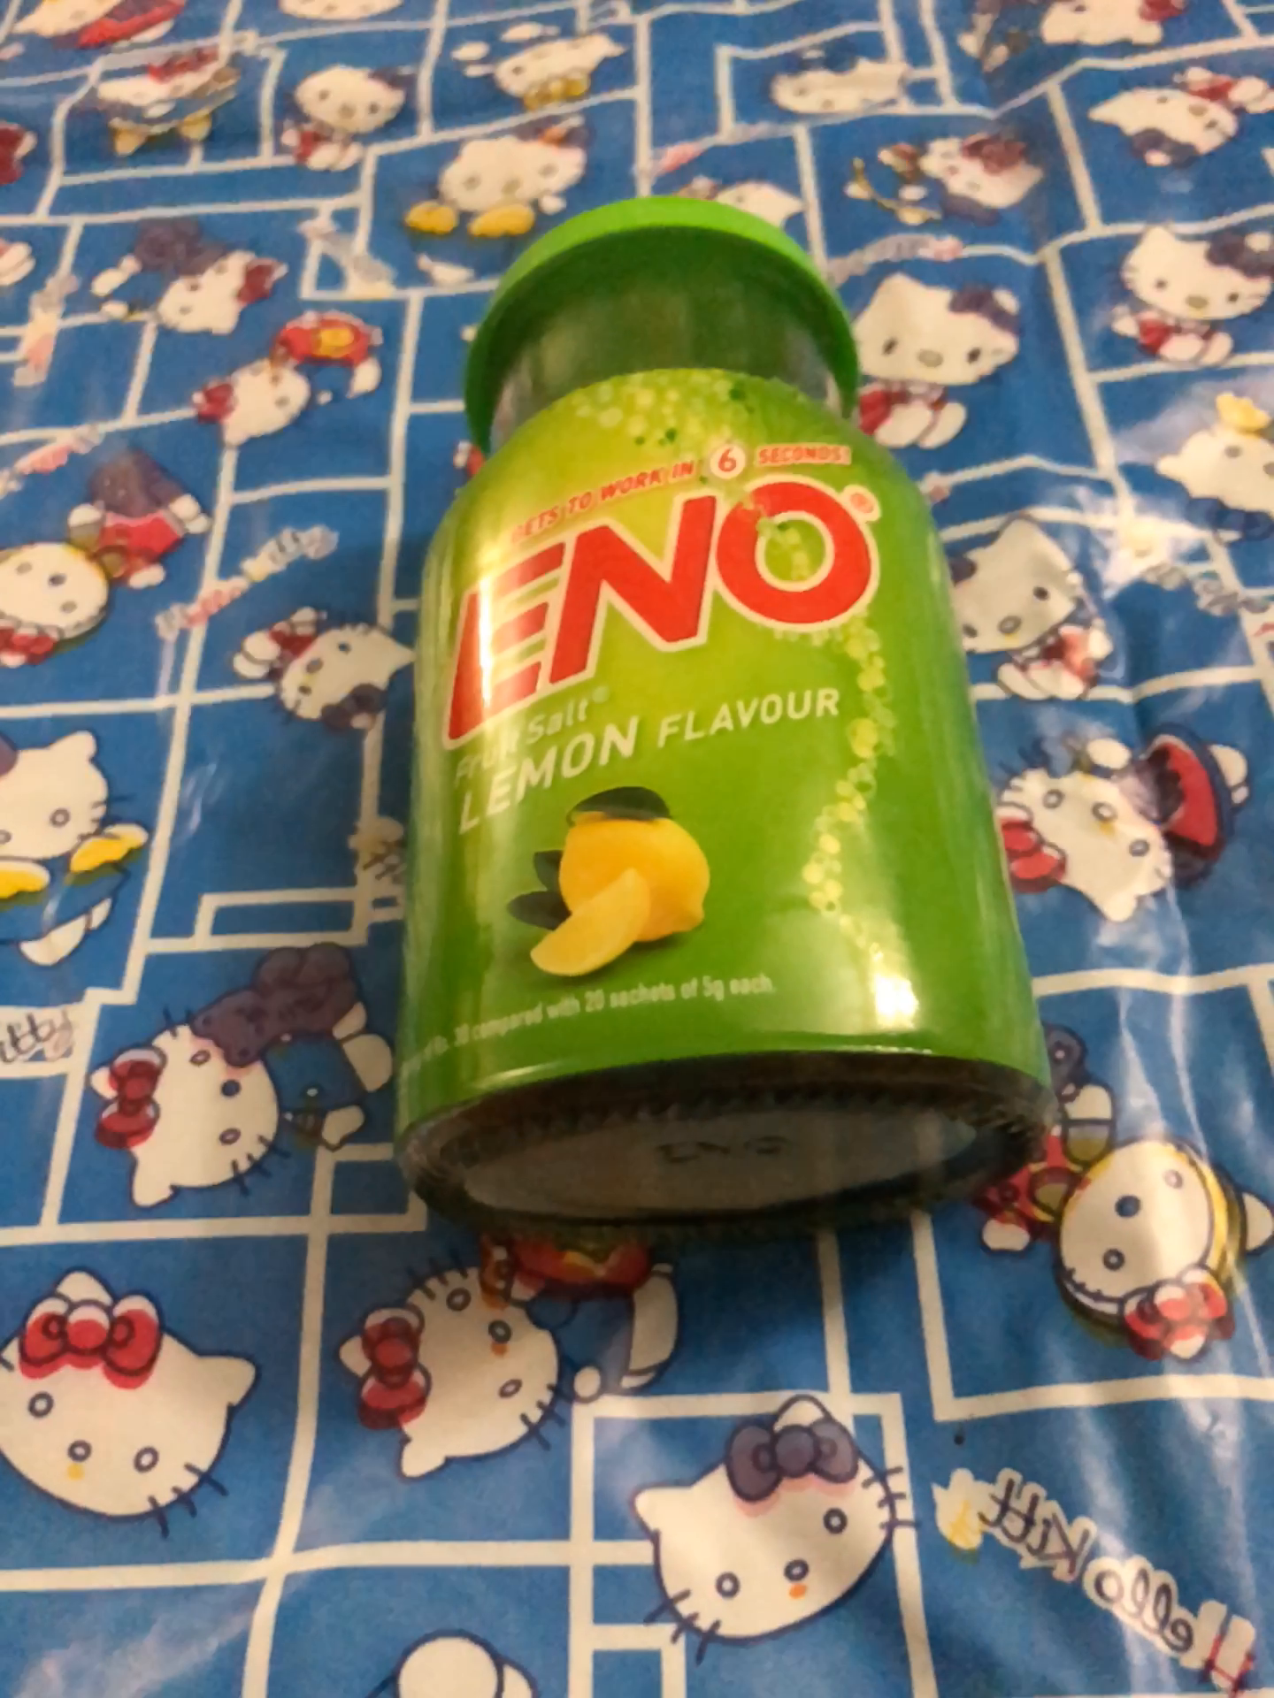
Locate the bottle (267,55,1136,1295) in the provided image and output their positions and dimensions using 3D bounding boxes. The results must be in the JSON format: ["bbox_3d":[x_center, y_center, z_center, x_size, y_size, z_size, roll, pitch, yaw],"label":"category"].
[{"bbox_3d":[0.004,-0.018,0.148,0.060,0.050,0.110,-6,62,5],"label":"bottle"}]
